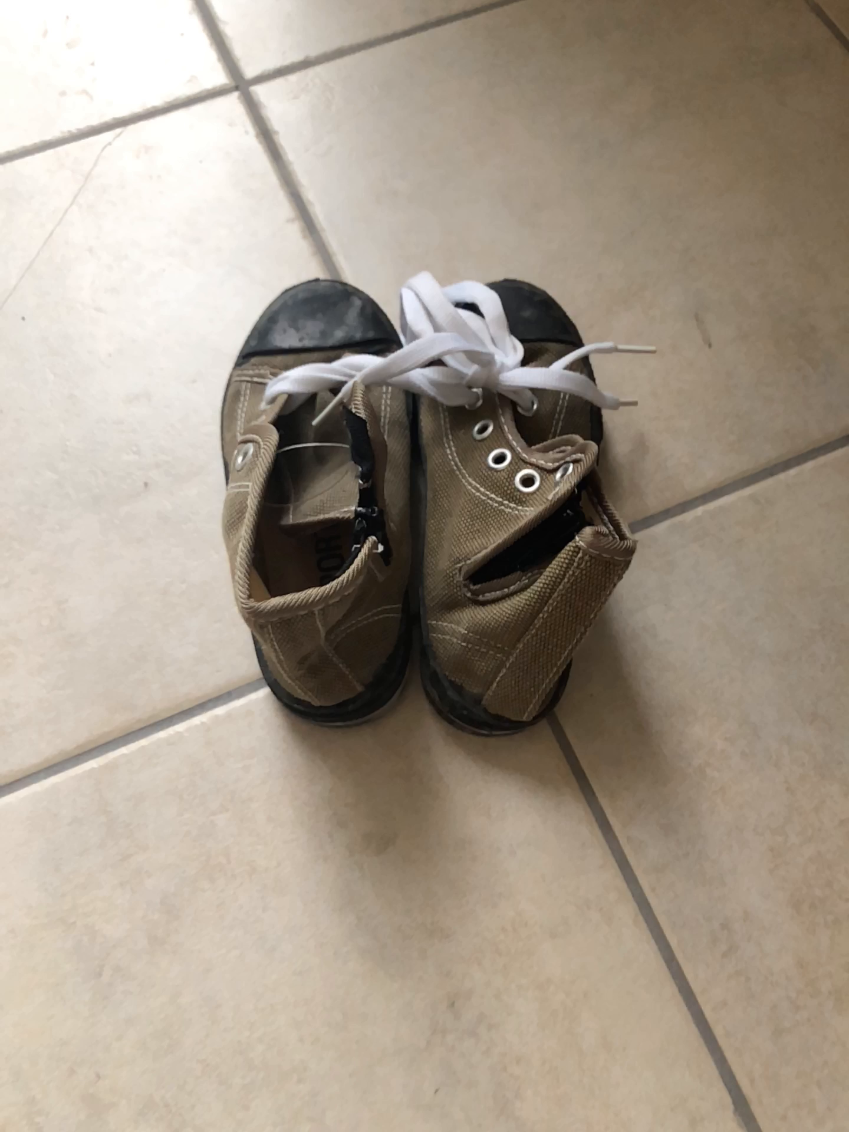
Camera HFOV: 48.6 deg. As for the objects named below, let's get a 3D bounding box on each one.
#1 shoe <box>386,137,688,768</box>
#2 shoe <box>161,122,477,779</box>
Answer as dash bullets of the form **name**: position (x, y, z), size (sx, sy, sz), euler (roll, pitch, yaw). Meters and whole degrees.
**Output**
- **shoe**: position (0.030, -0.037, 0.347), size (0.080, 0.110, 0.200), euler (-2, 68, 0)
- **shoe**: position (-0.038, -0.038, 0.341), size (0.080, 0.110, 0.200), euler (-7, 68, -2)
